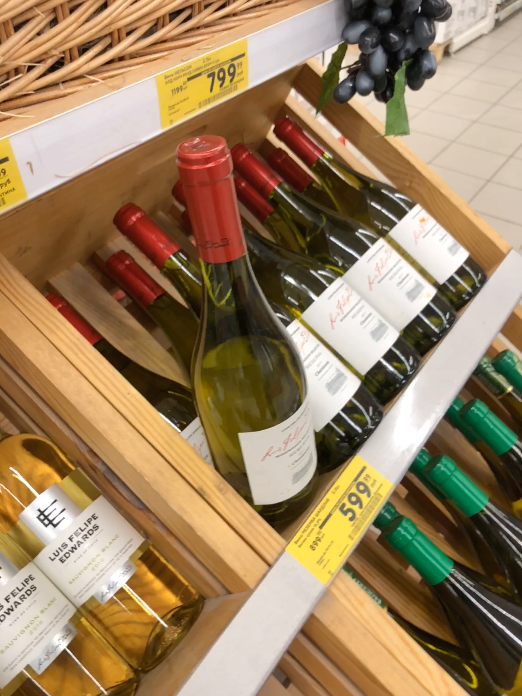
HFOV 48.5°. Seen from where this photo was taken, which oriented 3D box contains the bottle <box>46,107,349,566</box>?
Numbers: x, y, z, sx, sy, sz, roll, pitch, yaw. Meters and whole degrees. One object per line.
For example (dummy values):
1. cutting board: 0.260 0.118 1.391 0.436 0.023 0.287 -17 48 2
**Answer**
1. bottle: -0.022 0.002 0.394 0.100 0.289 0.100 -8 35 6
